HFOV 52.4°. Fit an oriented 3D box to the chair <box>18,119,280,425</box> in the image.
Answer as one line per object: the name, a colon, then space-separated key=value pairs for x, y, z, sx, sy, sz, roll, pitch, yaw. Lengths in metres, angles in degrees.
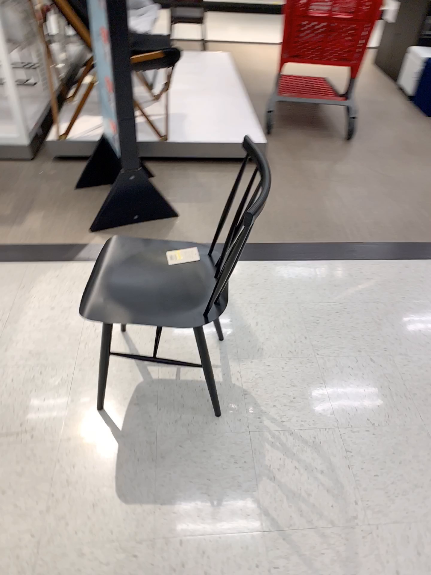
chair: x=-0.144 y=-0.023 z=1.293 sx=0.520 sy=0.736 sz=0.482 roll=3 pitch=41 yaw=-1
